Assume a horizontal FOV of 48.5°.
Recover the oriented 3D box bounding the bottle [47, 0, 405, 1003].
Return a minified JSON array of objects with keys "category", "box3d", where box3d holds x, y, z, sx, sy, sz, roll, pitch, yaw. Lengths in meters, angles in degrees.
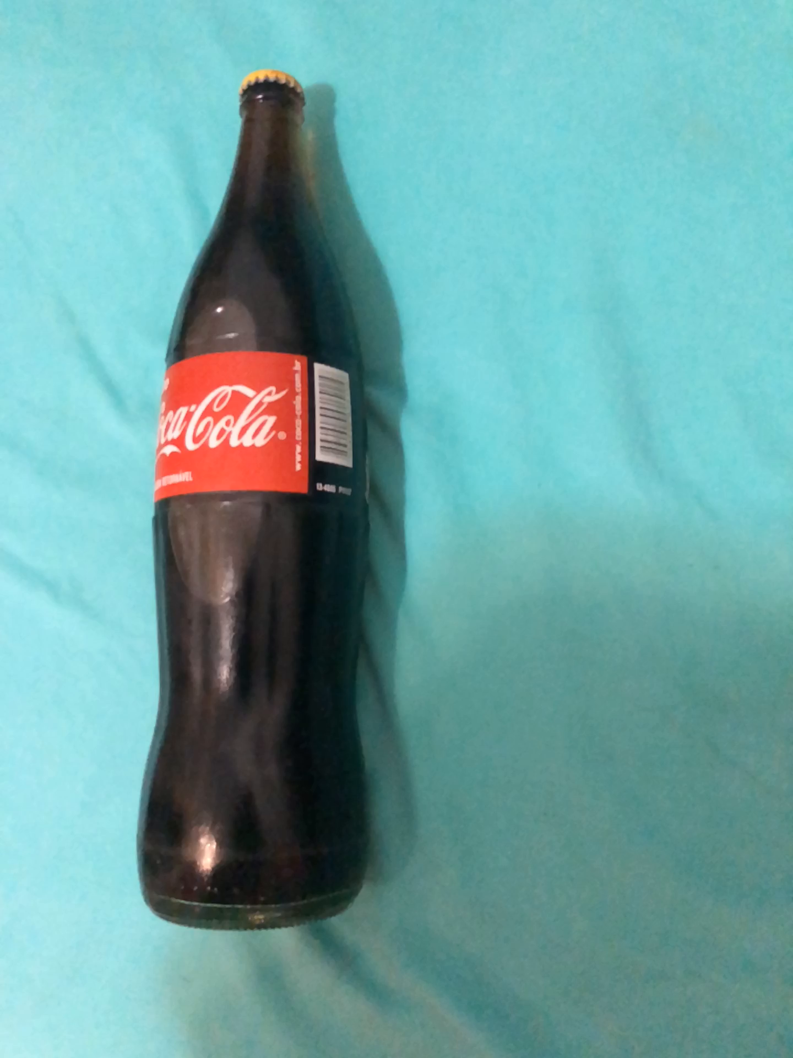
[{"category":"bottle","box3d":[-0.056,-0.031,0.338,0.100,0.070,0.360,-3,80,20]}]
